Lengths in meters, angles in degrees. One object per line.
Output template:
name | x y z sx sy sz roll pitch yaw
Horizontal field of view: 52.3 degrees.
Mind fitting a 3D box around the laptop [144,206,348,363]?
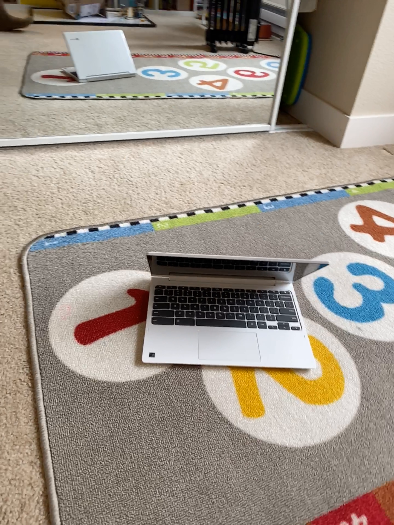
laptop | 0.064 0.035 0.708 0.293 0.164 0.218 3 38 -4
